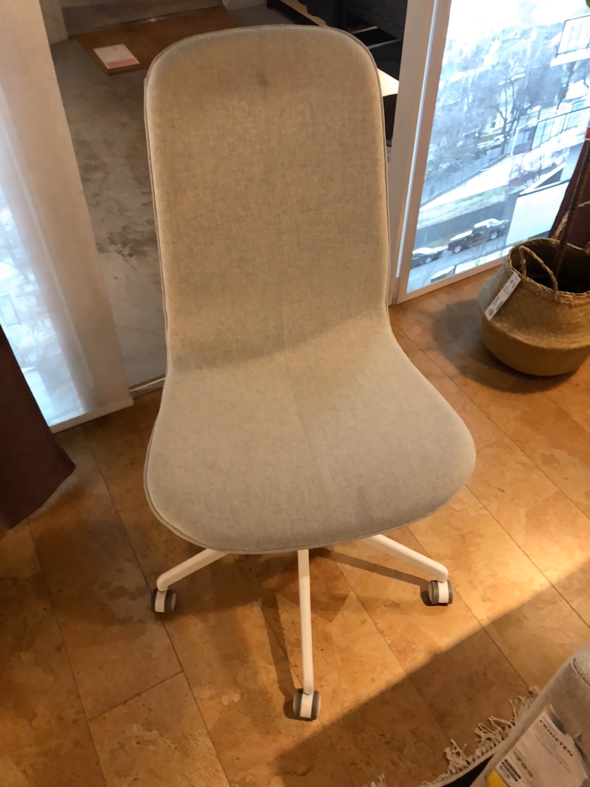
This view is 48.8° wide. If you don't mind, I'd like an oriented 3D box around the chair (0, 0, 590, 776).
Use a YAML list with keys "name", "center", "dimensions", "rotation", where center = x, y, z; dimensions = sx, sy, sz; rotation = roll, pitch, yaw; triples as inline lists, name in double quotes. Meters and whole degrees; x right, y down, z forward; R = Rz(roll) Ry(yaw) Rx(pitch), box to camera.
- name: "chair"
  center: [-0.017, 0.016, 1.057]
  dimensions: [0.670, 0.937, 0.692]
  rotation: [-13, 48, -12]
